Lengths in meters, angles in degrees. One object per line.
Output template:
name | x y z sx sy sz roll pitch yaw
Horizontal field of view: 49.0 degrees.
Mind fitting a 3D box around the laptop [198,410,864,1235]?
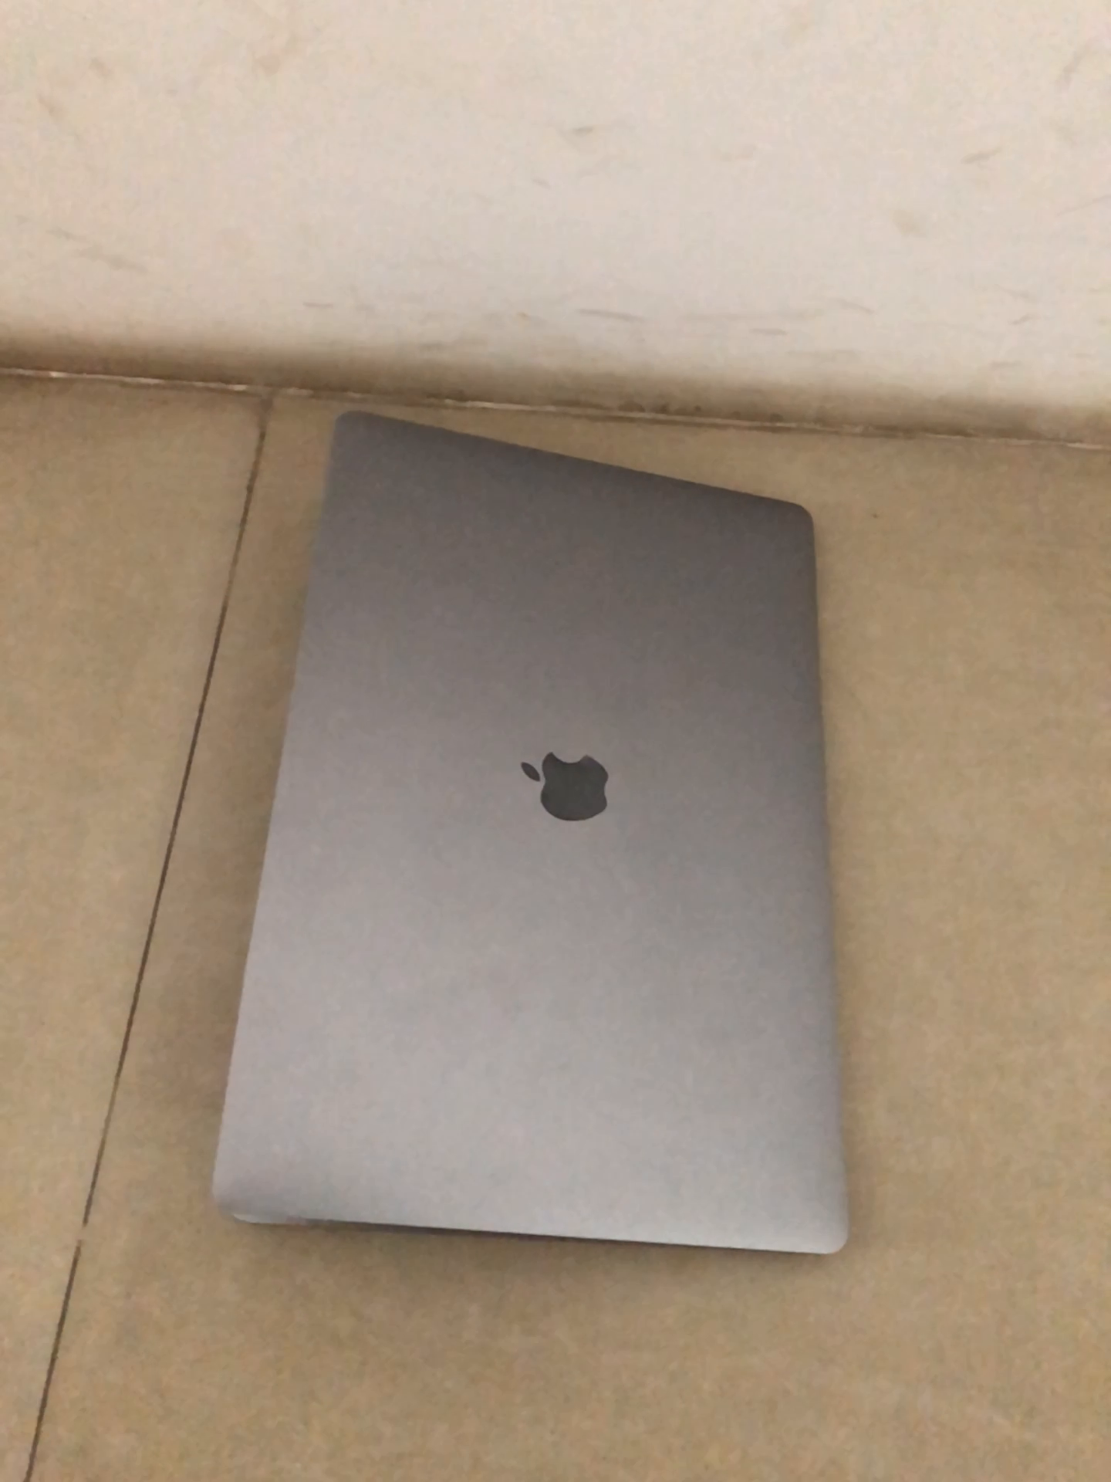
laptop | 0.002 0.018 0.520 0.232 0.057 0.336 4 65 1
